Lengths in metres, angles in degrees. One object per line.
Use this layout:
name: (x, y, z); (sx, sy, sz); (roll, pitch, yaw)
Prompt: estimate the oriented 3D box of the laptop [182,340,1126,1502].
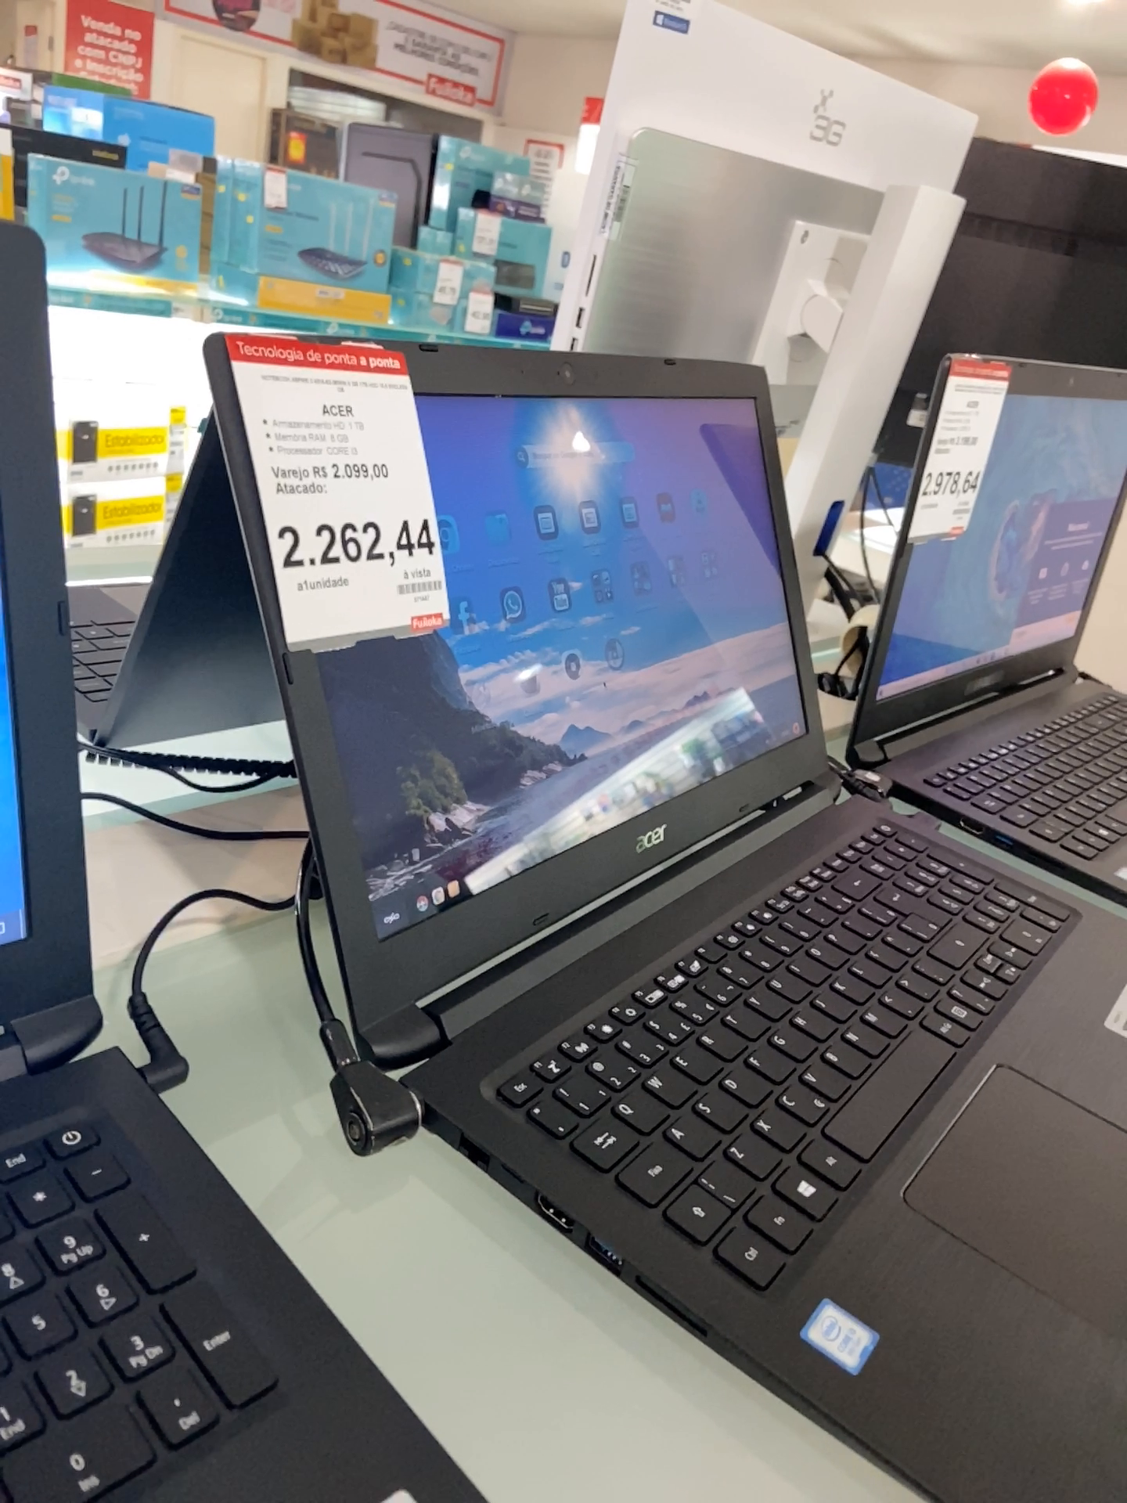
laptop: (0.127, -0.006, 0.483); (0.375, 0.226, 0.391); (26, 27, 31)
